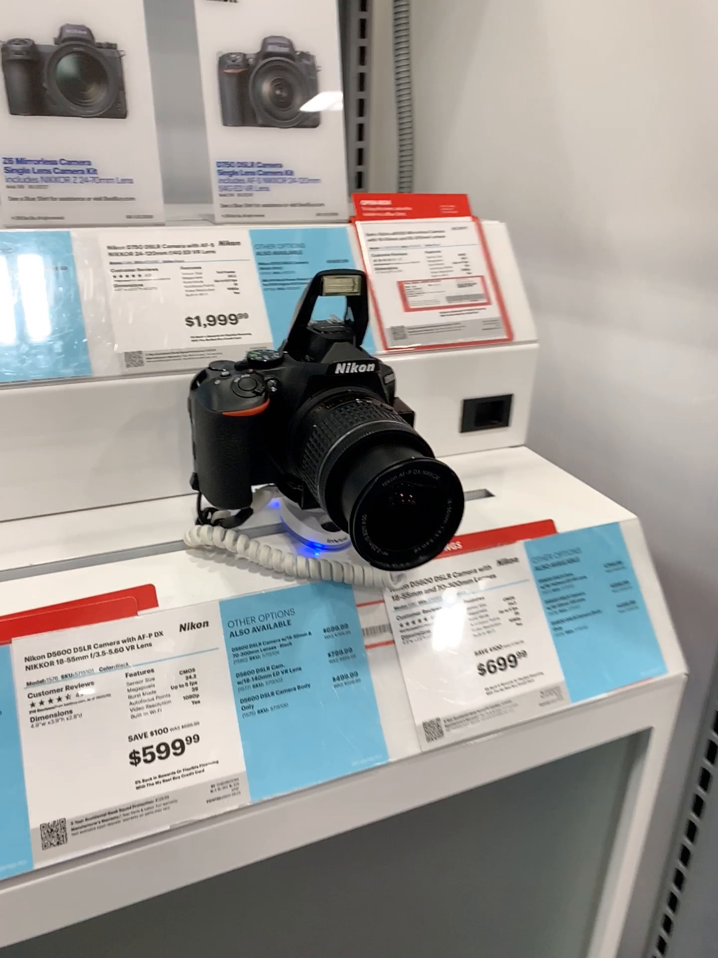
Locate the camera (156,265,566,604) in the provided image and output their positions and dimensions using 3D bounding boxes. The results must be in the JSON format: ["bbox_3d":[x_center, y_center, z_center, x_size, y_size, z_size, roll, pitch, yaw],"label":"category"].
[{"bbox_3d":[-0.014,-0.044,0.400,0.140,0.109,0.191,-10,26,-25],"label":"camera"}]
